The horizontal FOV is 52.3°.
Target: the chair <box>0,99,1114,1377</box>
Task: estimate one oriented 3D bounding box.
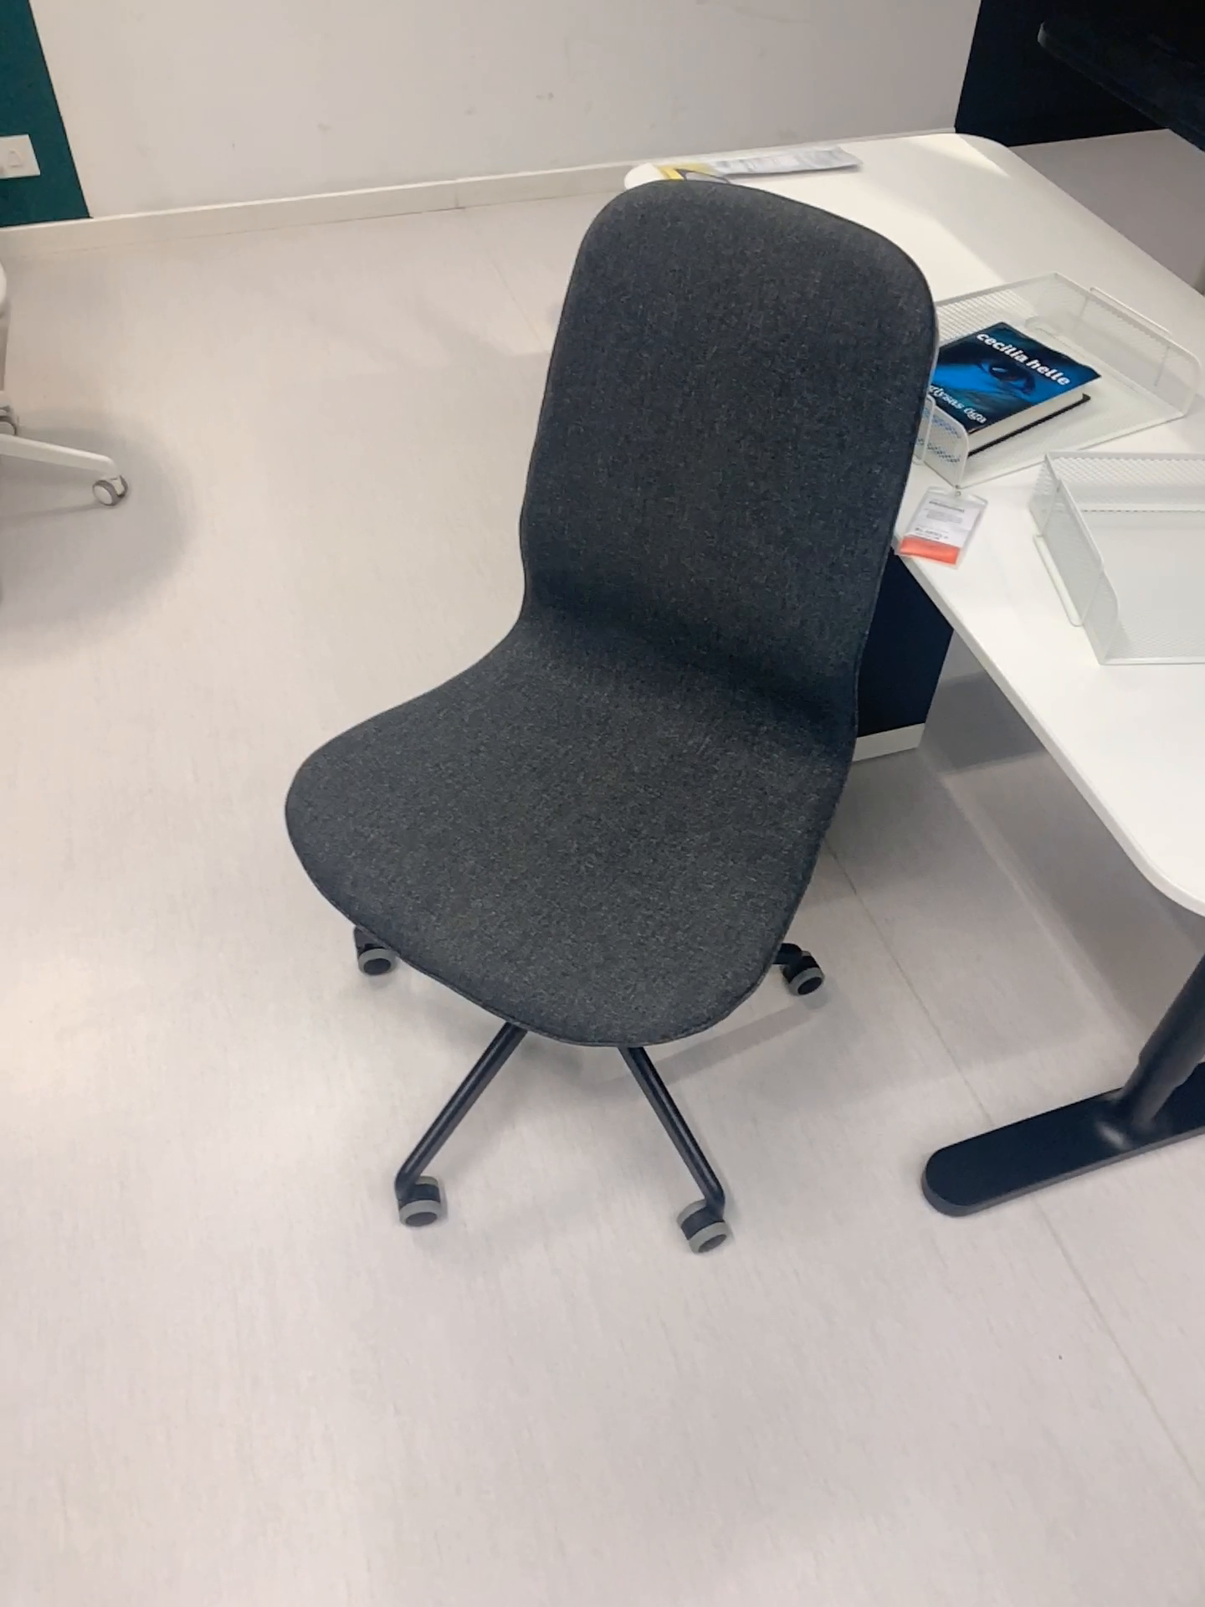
[{"bbox_3d":[-0.032,-0.029,1.275,0.631,0.997,0.641,24,52,19],"label":"chair"}]
